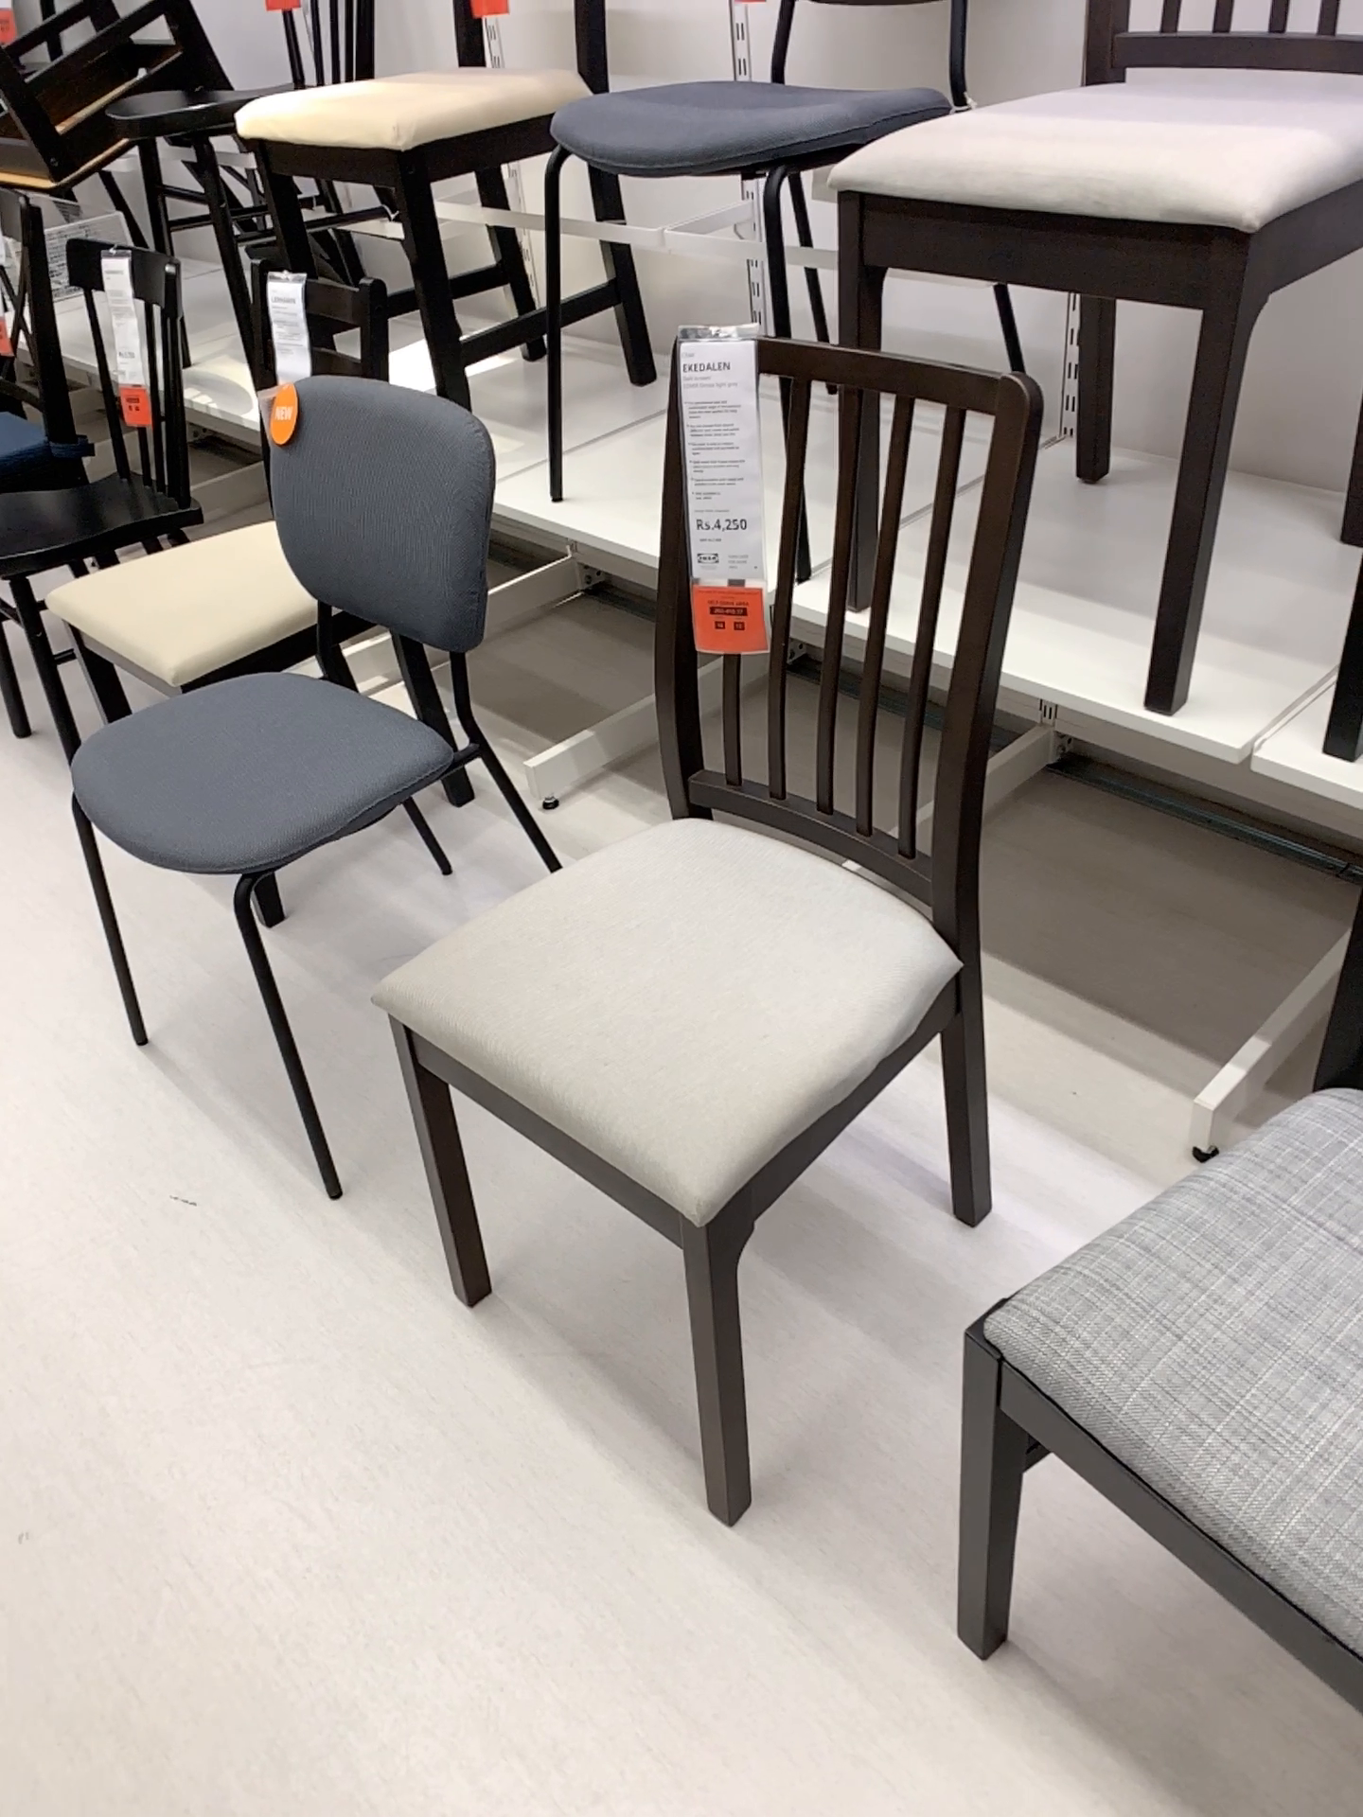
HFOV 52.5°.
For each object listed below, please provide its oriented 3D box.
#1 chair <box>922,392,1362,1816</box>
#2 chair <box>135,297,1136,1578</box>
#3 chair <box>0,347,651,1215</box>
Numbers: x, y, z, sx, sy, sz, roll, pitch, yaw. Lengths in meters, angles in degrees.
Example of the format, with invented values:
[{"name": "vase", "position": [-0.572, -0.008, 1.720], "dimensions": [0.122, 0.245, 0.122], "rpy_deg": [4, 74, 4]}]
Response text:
[{"name": "chair", "position": [0.515, 0.253, 0.881], "dimensions": [0.530, 0.916, 0.482], "rpy_deg": [-30, 43, -27]}, {"name": "chair", "position": [0.014, 0.023, 1.256], "dimensions": [0.482, 0.916, 0.531], "rpy_deg": [27, 49, 37]}, {"name": "chair", "position": [-0.499, -0.193, 1.767], "dimensions": [0.572, 0.786, 0.611], "rpy_deg": [24, 47, 34]}]
